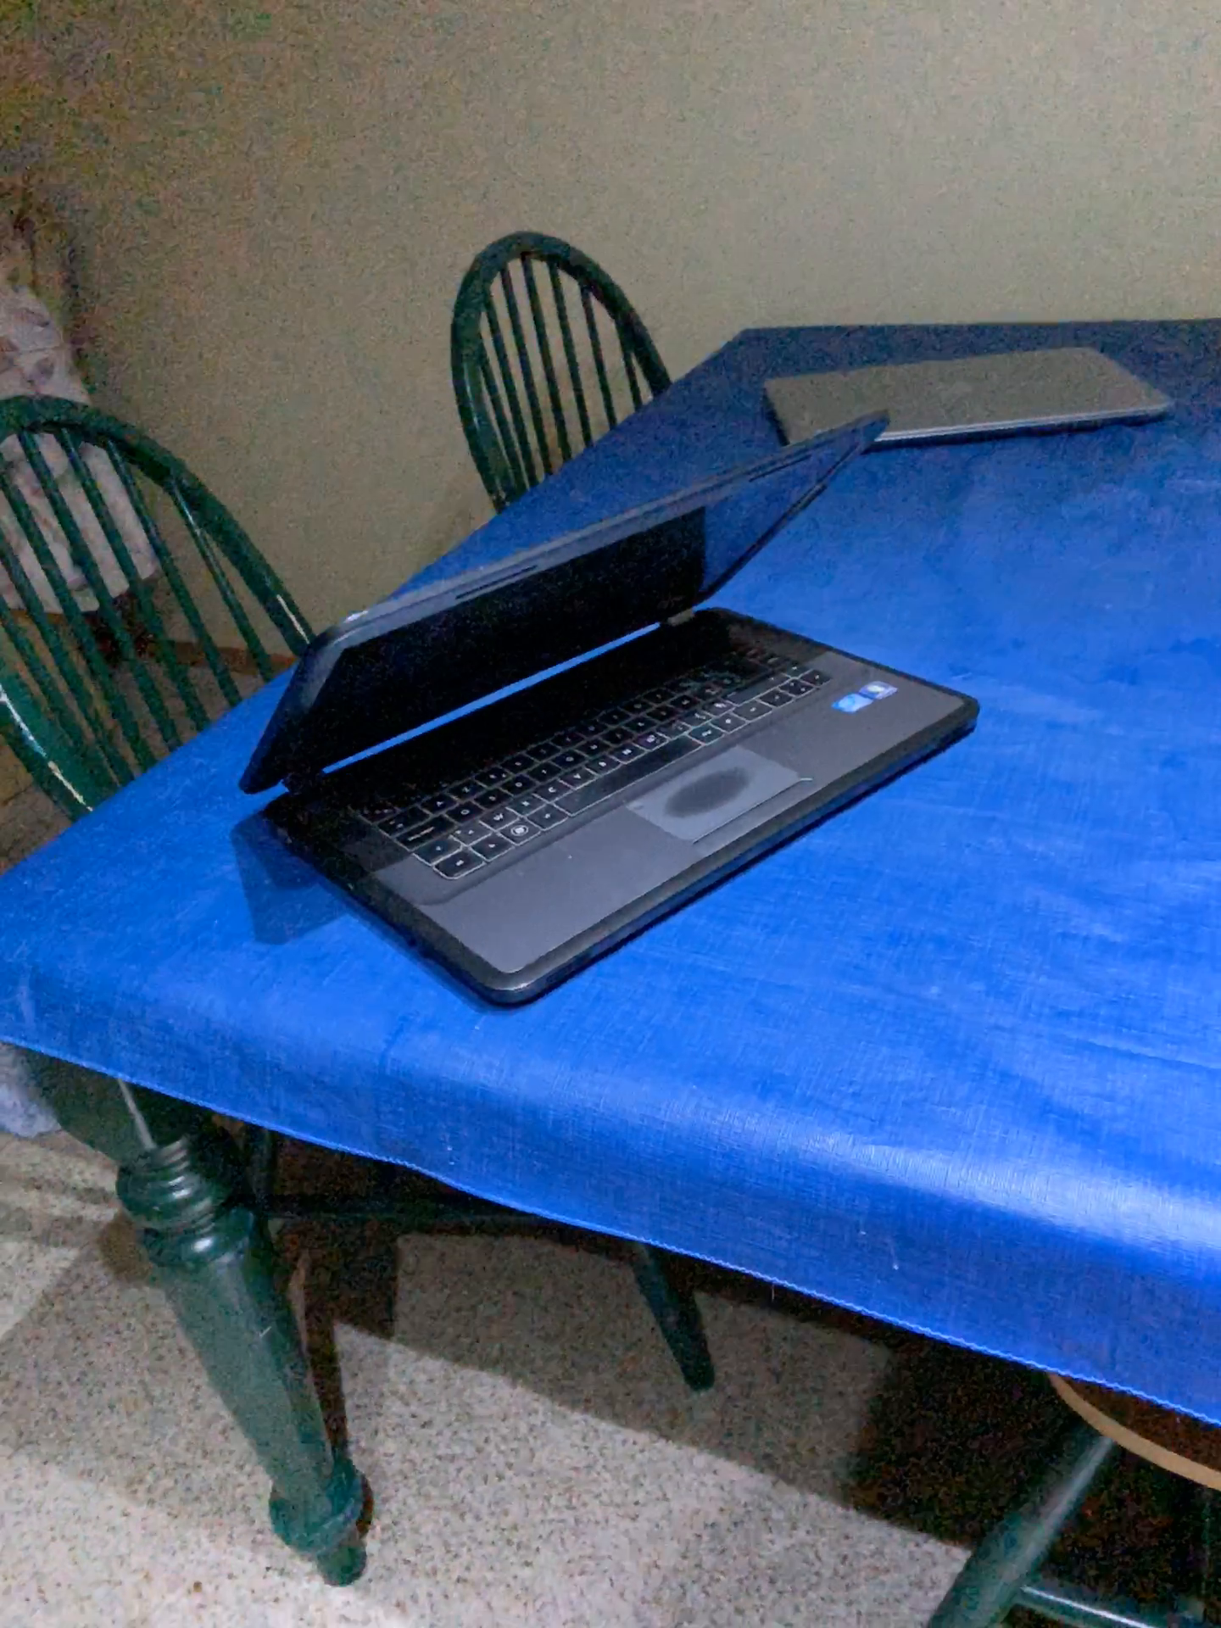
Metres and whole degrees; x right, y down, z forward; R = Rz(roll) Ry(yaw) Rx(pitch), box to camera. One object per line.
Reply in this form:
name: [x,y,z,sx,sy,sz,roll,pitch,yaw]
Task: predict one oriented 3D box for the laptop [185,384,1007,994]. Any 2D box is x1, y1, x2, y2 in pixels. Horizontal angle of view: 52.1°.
laptop: [0.004,-0.103,0.690,0.362,0.160,0.244,-28,37,-32]
